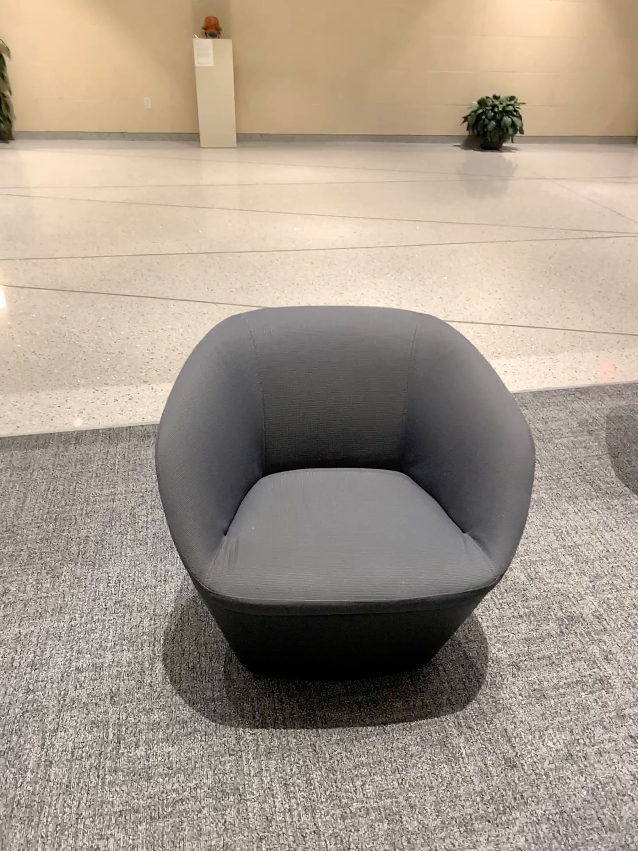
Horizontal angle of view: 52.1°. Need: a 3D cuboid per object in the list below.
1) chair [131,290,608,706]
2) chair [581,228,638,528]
[{"bbox_3d":[0.056,0.120,1.489,0.778,0.658,0.636,-2,31,-6],"label":"chair"},{"bbox_3d":[1.365,-0.175,2.015,0.768,0.668,0.636,3,31,2],"label":"chair"}]
